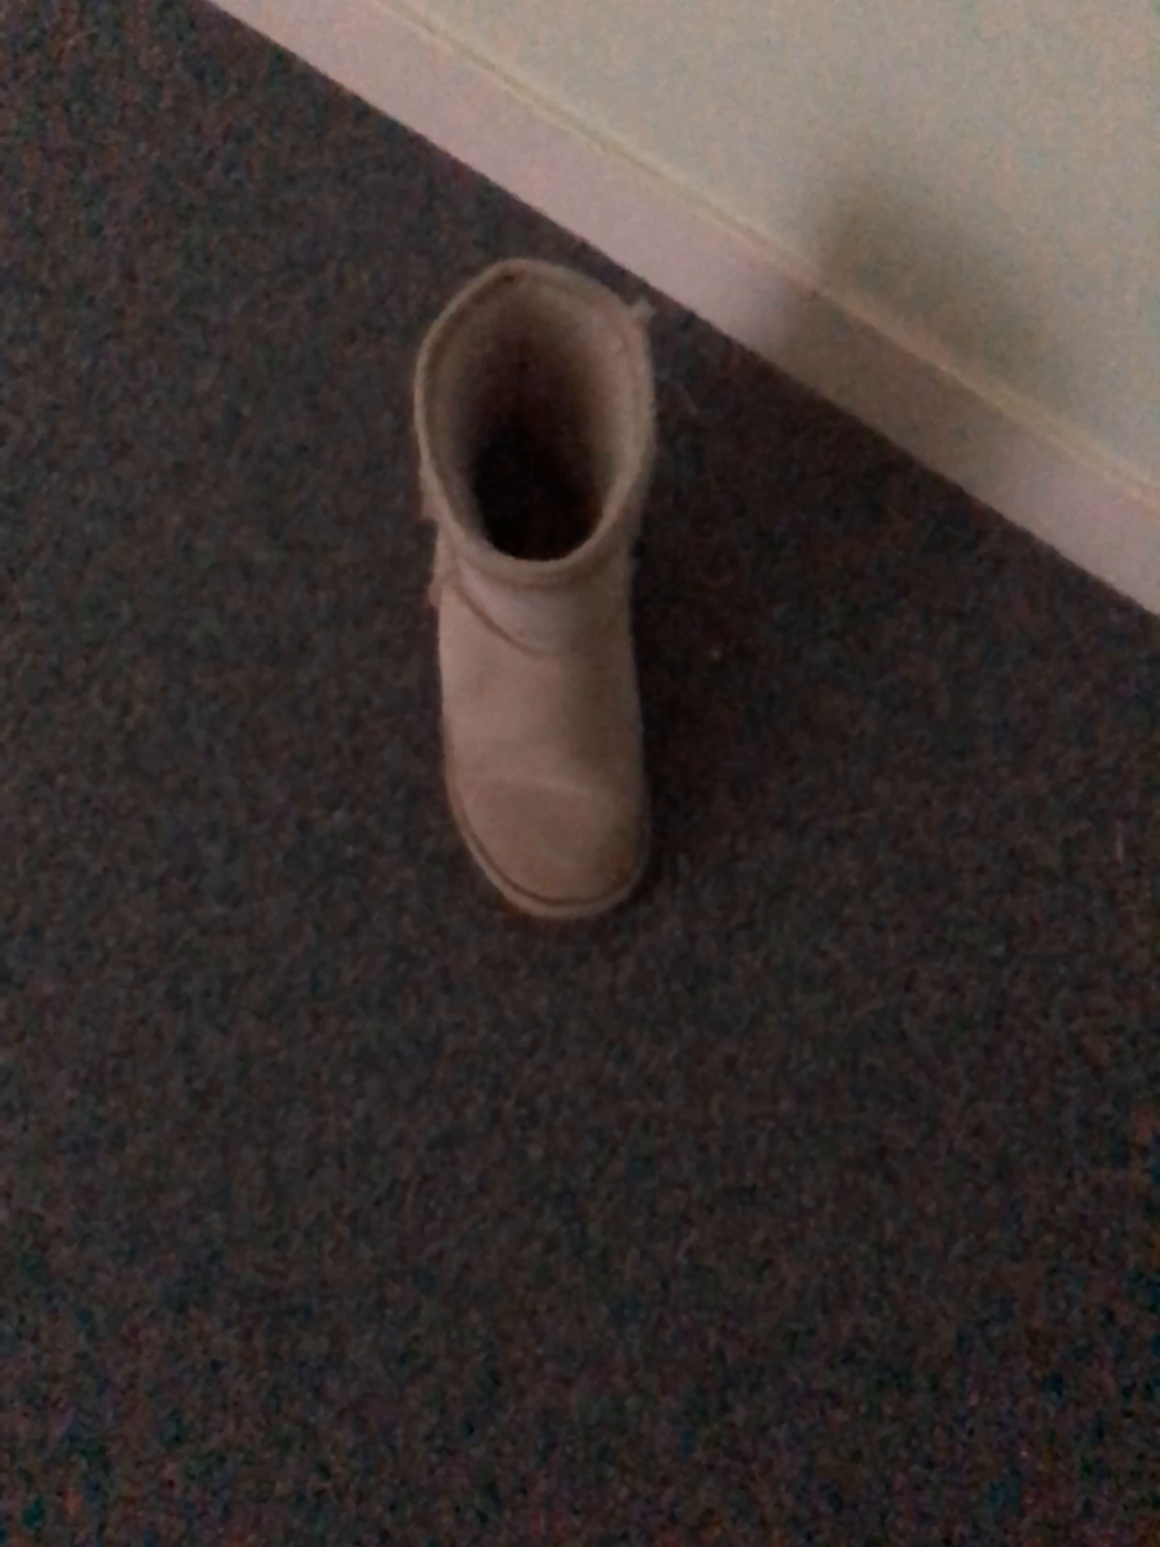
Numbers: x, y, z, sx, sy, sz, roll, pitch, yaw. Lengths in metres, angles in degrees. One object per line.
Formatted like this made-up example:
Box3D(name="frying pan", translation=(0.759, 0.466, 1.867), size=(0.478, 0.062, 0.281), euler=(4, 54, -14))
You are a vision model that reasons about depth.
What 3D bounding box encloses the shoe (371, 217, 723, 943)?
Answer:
Box3D(name="shoe", translation=(-0.018, -0.065, 0.581), size=(0.120, 0.210, 0.270), euler=(-2, 81, -2))
